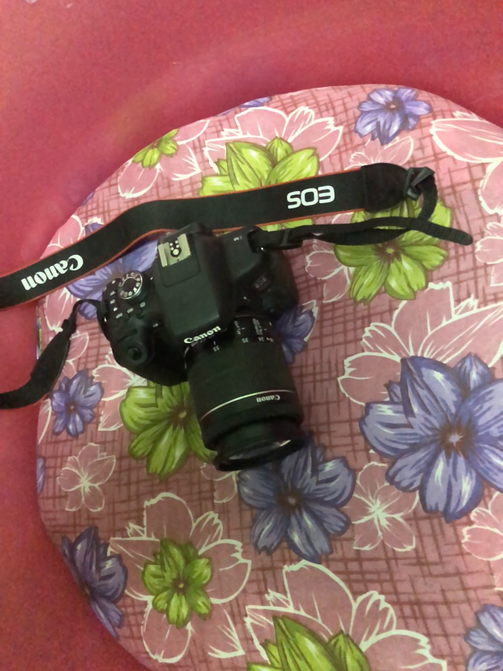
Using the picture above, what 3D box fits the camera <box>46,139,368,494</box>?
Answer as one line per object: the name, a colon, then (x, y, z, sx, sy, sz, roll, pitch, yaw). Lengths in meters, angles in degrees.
camera: (-0.028, -0.002, 0.348, 0.140, 0.100, 0.160, -21, 69, 14)
